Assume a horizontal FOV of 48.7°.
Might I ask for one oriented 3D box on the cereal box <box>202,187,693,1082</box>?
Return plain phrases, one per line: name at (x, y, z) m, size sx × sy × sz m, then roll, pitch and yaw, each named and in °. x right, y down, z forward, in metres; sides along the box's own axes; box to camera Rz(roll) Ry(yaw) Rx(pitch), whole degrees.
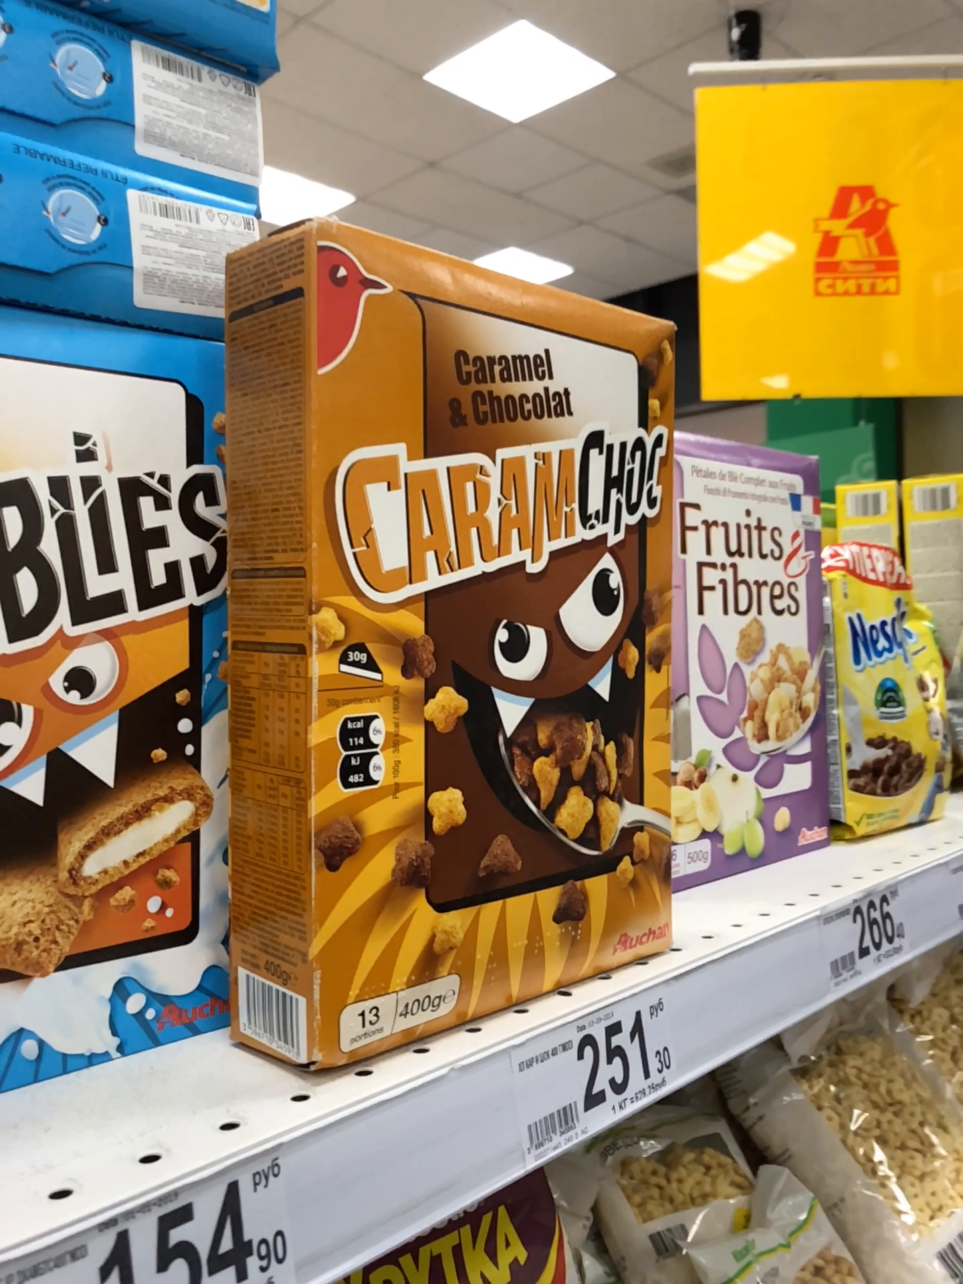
cereal box at (-0.003, -0.004, 0.412) m, size 0.200 × 0.270 × 0.060 m, roll -1°, pitch 2°, yaw -44°
